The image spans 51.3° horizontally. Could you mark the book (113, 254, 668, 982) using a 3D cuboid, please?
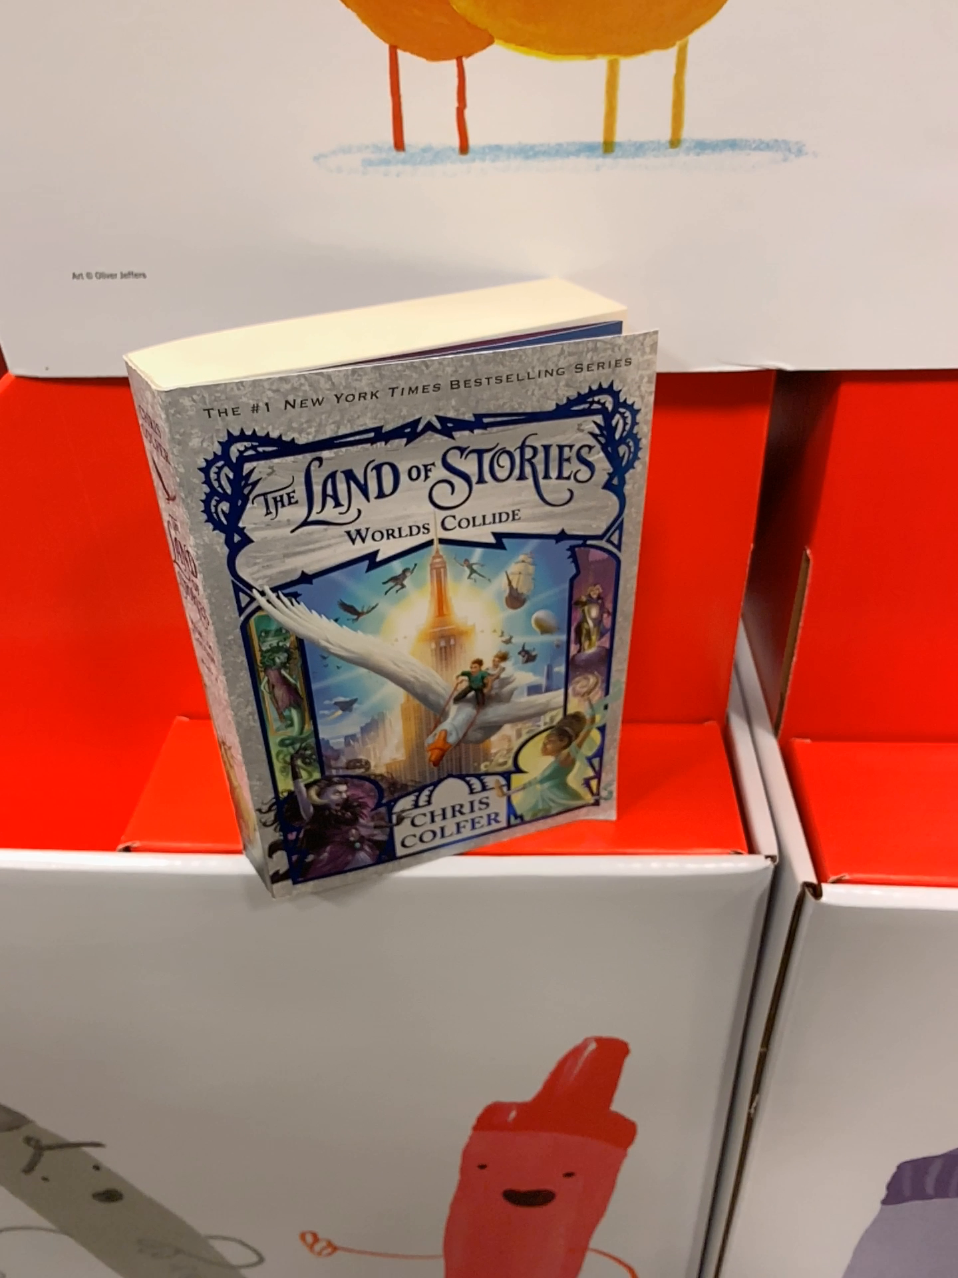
[{"bbox_3d":[-0.018,-0.003,0.315,0.130,0.193,0.065,-20,38,-21],"label":"book"}]
